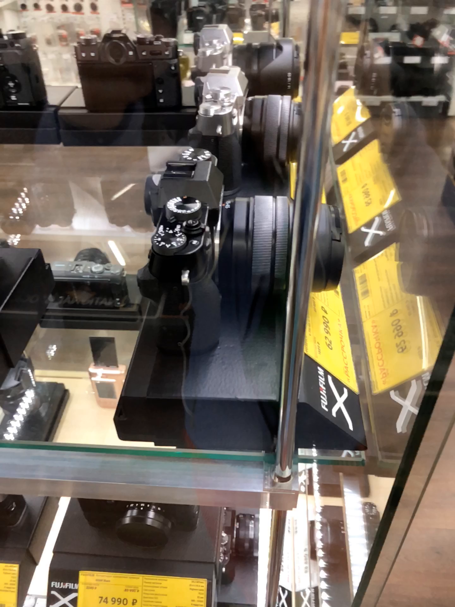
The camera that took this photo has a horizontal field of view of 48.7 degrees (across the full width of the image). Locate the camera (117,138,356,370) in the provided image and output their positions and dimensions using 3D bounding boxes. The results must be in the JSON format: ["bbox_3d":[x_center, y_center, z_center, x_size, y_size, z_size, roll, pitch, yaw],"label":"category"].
[{"bbox_3d":[0.007,-0.034,0.304,0.110,0.089,0.114,0,39,2],"label":"camera"}]

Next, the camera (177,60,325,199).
[{"bbox_3d":[0.023,-0.154,0.437,0.108,0.078,0.114,2,39,5],"label":"camera"}]

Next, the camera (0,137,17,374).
[{"bbox_3d":[-0.218,-0.034,0.304,0.114,0.089,0.120,1,39,3],"label":"camera"}]
